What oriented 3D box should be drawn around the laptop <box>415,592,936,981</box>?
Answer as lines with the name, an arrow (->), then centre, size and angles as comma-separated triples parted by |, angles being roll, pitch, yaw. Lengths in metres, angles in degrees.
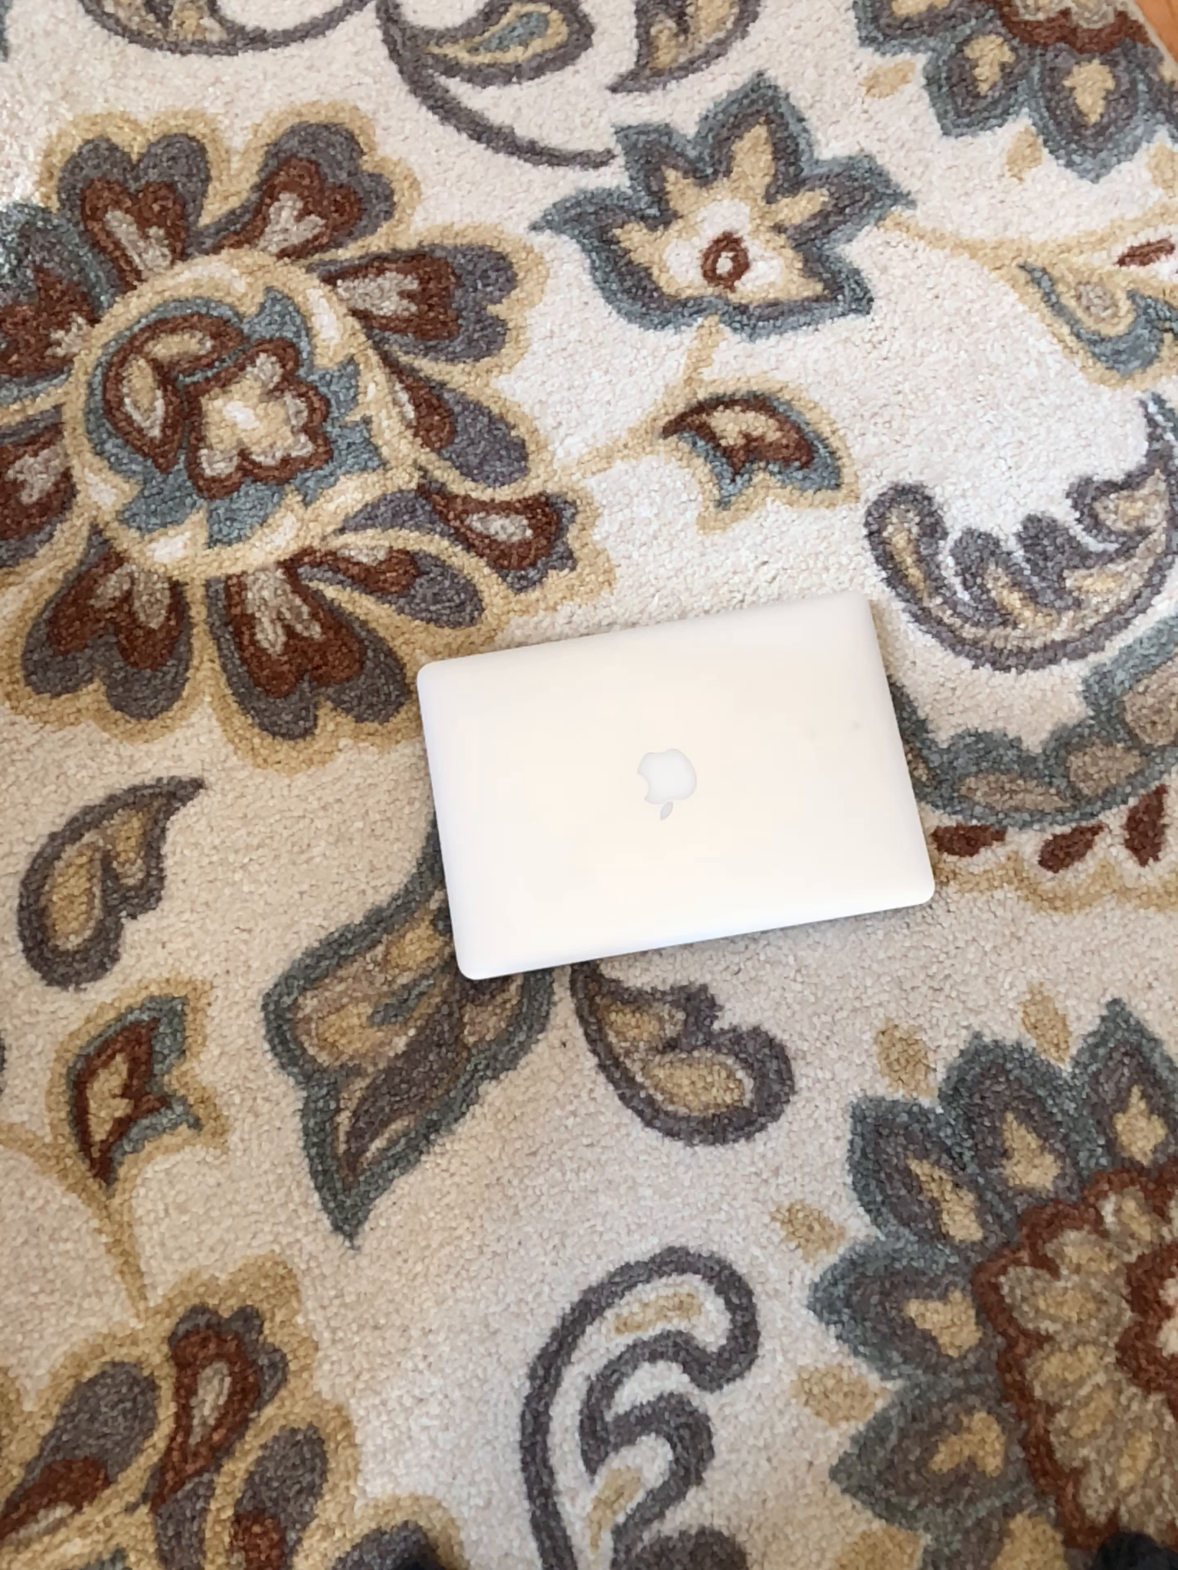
laptop -> 0.051, -0.003, 0.819 | 0.295, 0.001, 0.207 | -9, 77, -2
